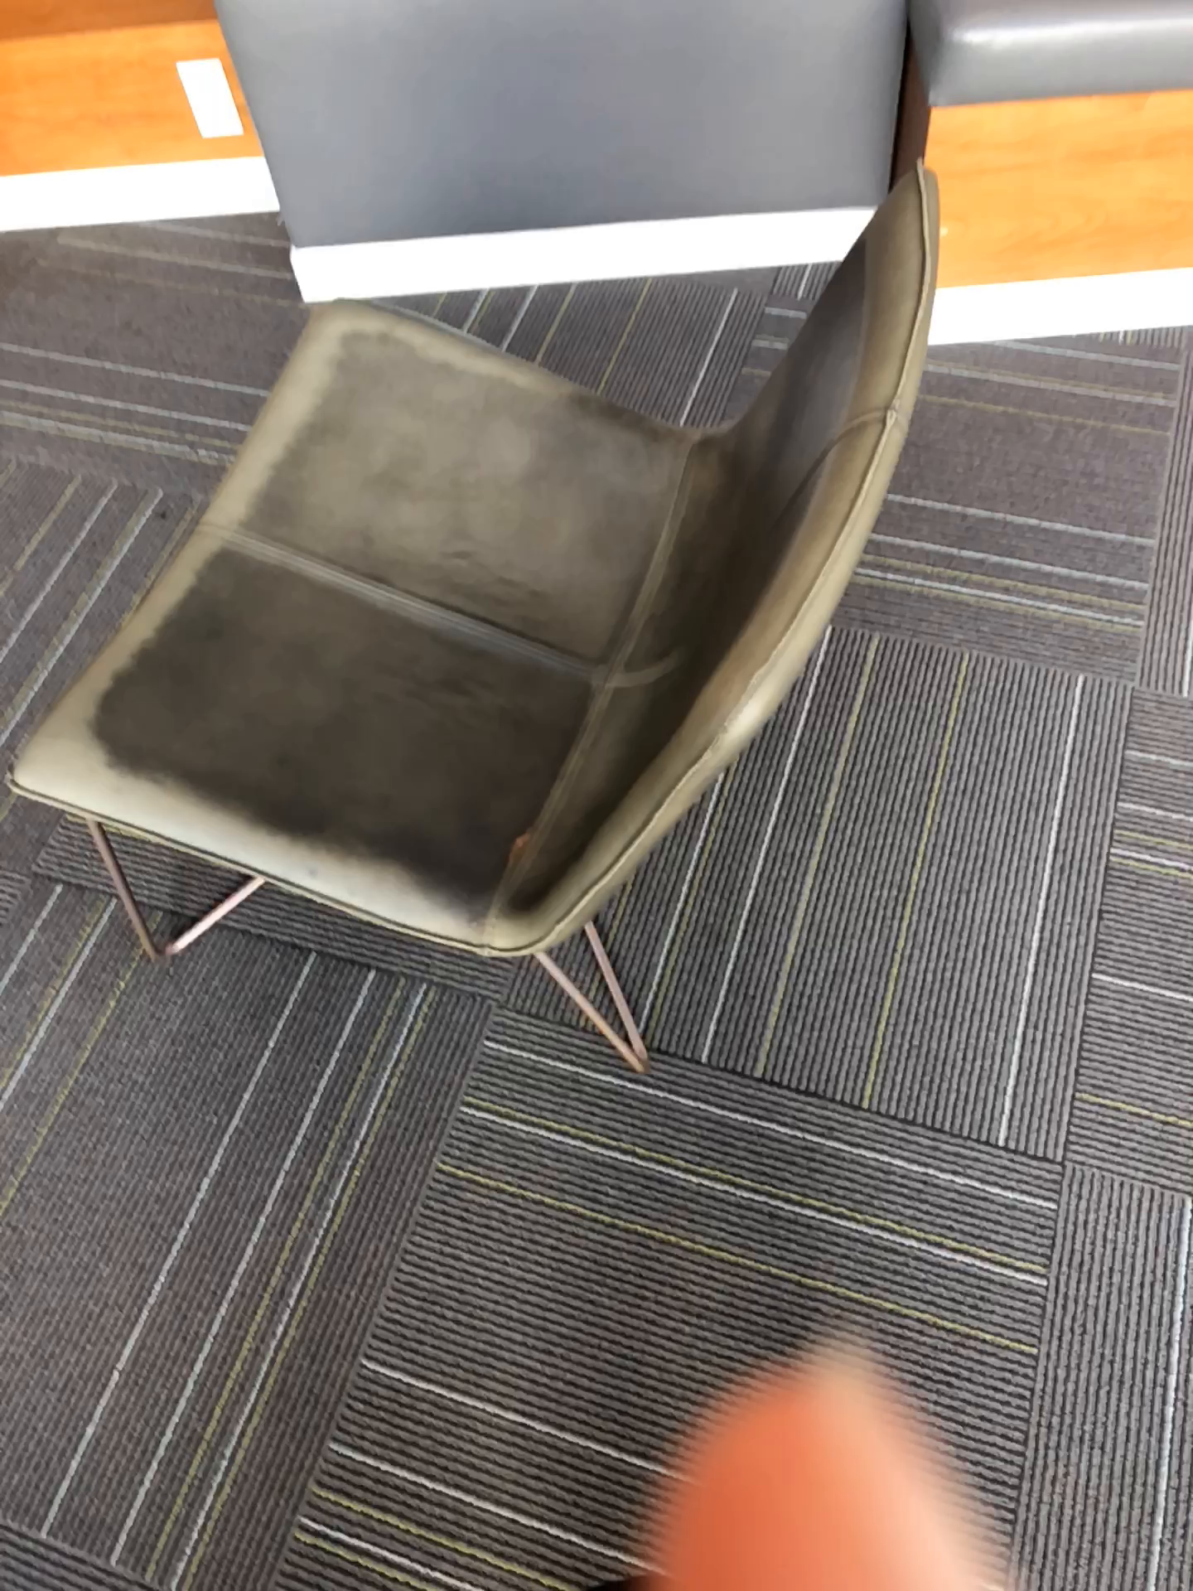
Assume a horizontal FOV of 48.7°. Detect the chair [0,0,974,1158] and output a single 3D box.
[{"bbox_3d":[-0.142,-0.197,1.254,0.650,0.878,0.671,17,61,8],"label":"chair"}]
